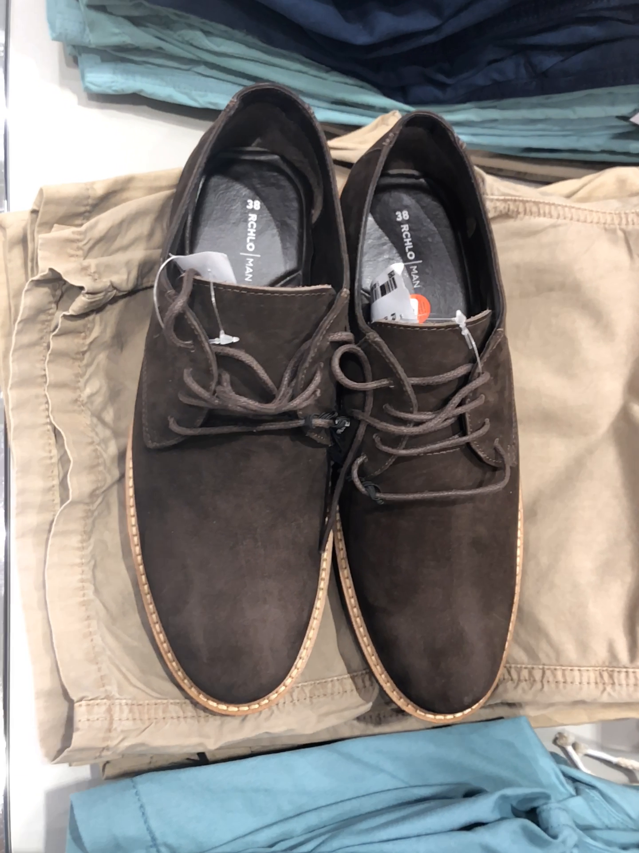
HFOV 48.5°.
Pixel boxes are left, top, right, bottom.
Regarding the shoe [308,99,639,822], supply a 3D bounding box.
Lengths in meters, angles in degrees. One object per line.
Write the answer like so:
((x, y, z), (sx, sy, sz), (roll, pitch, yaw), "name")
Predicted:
((0.056, 0.009, 0.316), (0.100, 0.110, 0.260), (-3, 84, -5), "shoe")

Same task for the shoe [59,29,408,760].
((-0.035, -0.009, 0.314), (0.110, 0.110, 0.260), (4, 86, -8), "shoe")
